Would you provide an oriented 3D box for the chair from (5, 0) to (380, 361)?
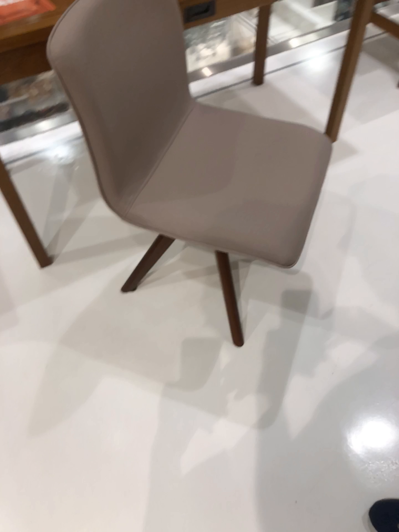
[{"bbox_3d":[0.040,-0.252,1.133,0.530,0.835,0.543,14,54,12],"label":"chair"}]
